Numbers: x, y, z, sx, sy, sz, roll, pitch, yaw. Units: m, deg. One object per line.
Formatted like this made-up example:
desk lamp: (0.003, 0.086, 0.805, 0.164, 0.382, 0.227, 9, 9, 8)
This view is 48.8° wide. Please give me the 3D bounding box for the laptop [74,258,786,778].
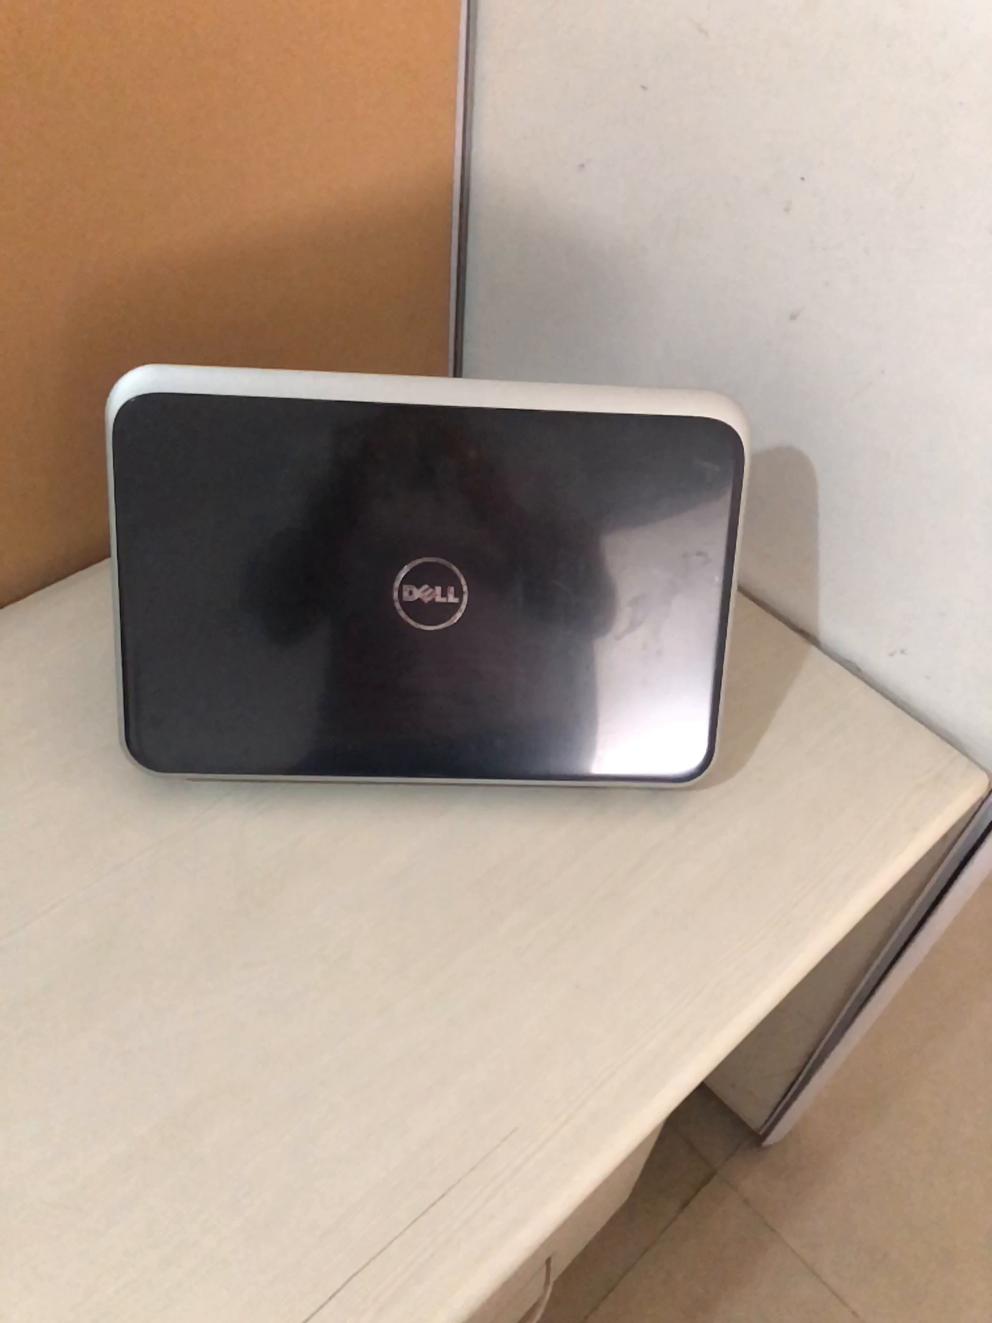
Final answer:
laptop: (-0.032, -0.088, 0.683, 0.347, 0.192, 0.241, 2, 48, -4)
